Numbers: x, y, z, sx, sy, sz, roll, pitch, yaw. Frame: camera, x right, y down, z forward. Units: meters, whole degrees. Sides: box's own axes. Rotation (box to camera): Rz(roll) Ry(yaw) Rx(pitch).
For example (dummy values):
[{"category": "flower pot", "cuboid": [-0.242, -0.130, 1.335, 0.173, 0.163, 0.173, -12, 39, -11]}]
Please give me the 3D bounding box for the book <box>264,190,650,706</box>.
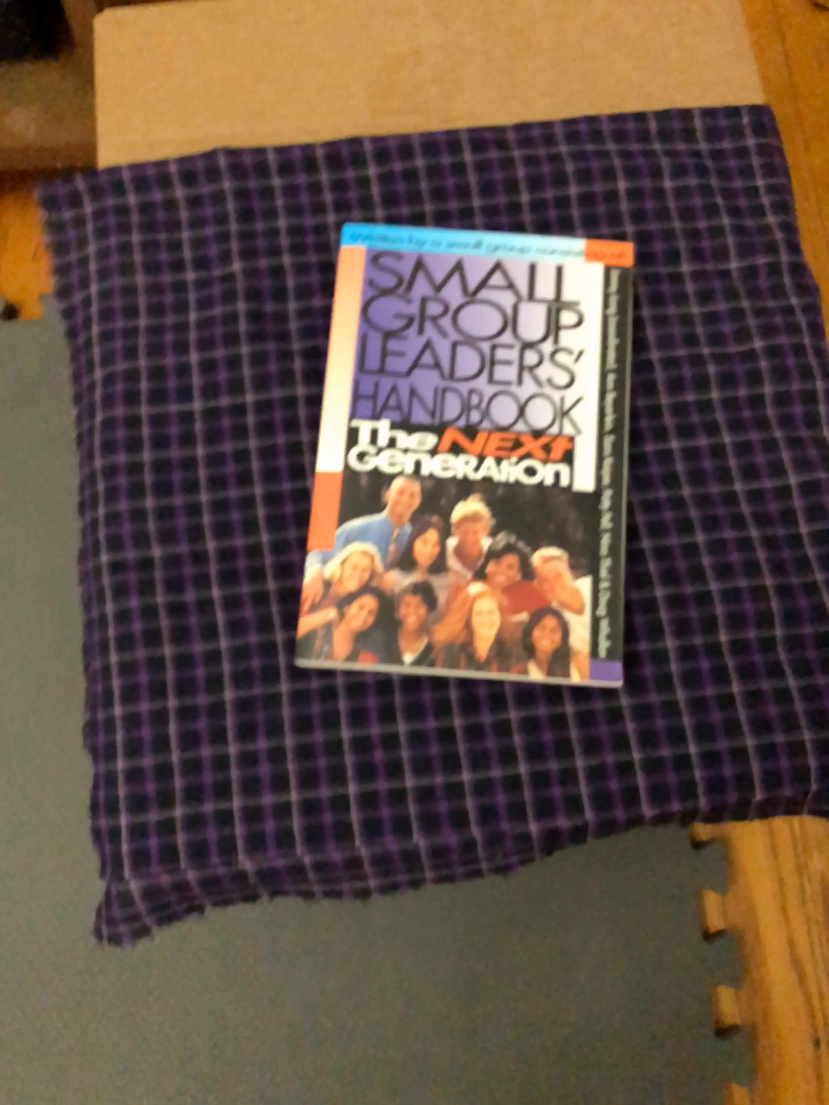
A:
[{"category": "book", "cuboid": [0.023, -0.050, 0.408, 0.150, 0.030, 0.220, 4, 76, 1]}]
